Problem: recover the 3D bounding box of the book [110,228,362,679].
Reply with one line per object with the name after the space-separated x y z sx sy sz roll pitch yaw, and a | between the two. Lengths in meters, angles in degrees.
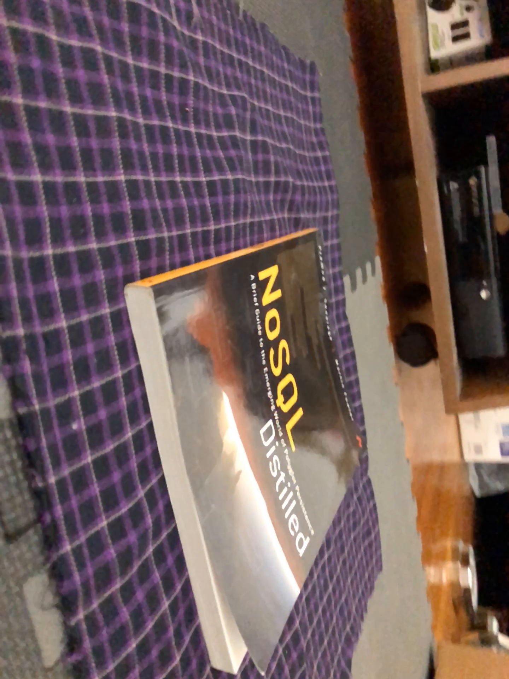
0.017 0.039 0.353 0.251 0.020 0.190 -36 116 -63 | book
